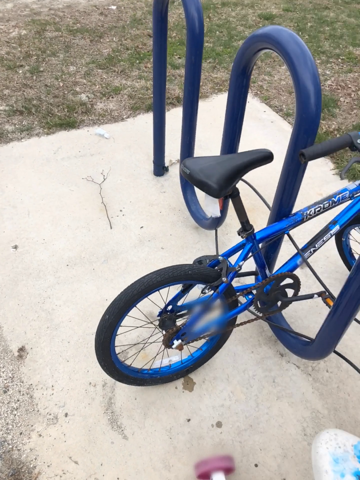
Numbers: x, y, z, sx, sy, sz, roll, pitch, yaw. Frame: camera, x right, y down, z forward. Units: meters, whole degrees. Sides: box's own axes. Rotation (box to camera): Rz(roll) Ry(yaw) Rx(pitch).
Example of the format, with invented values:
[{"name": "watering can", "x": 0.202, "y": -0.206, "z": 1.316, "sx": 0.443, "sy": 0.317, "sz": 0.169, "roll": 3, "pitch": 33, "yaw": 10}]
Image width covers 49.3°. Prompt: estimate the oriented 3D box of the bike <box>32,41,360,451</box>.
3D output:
[{"name": "bike", "x": 0.260, "y": 0.016, "z": 1.076, "sx": 1.029, "sy": 0.840, "sz": 0.625, "roll": -8, "pitch": 45, "yaw": -11}]
